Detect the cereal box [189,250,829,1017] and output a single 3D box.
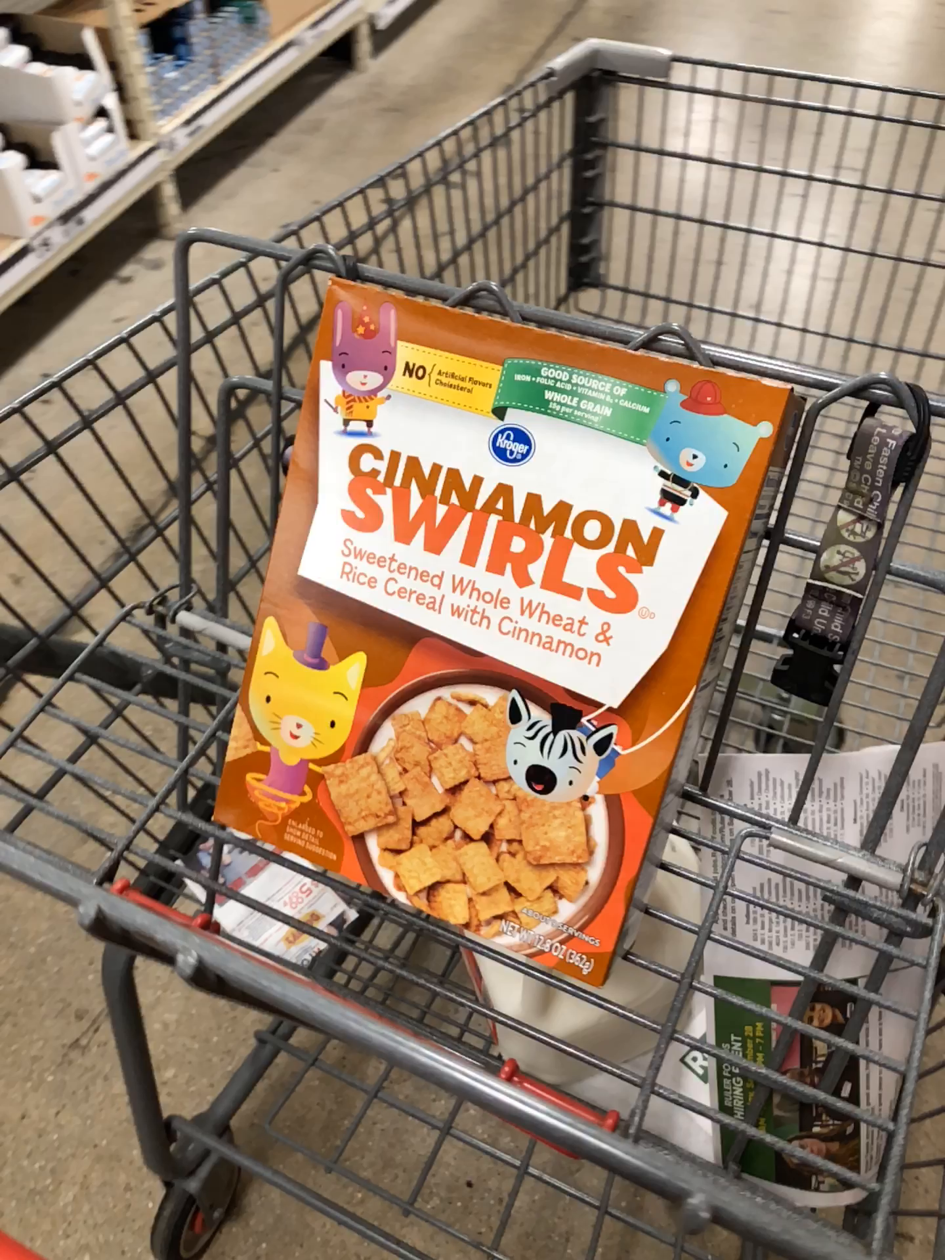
[{"bbox_3d":[0.003,-0.004,0.445,0.210,0.260,0.050,19,13,19],"label":"cereal box"}]
